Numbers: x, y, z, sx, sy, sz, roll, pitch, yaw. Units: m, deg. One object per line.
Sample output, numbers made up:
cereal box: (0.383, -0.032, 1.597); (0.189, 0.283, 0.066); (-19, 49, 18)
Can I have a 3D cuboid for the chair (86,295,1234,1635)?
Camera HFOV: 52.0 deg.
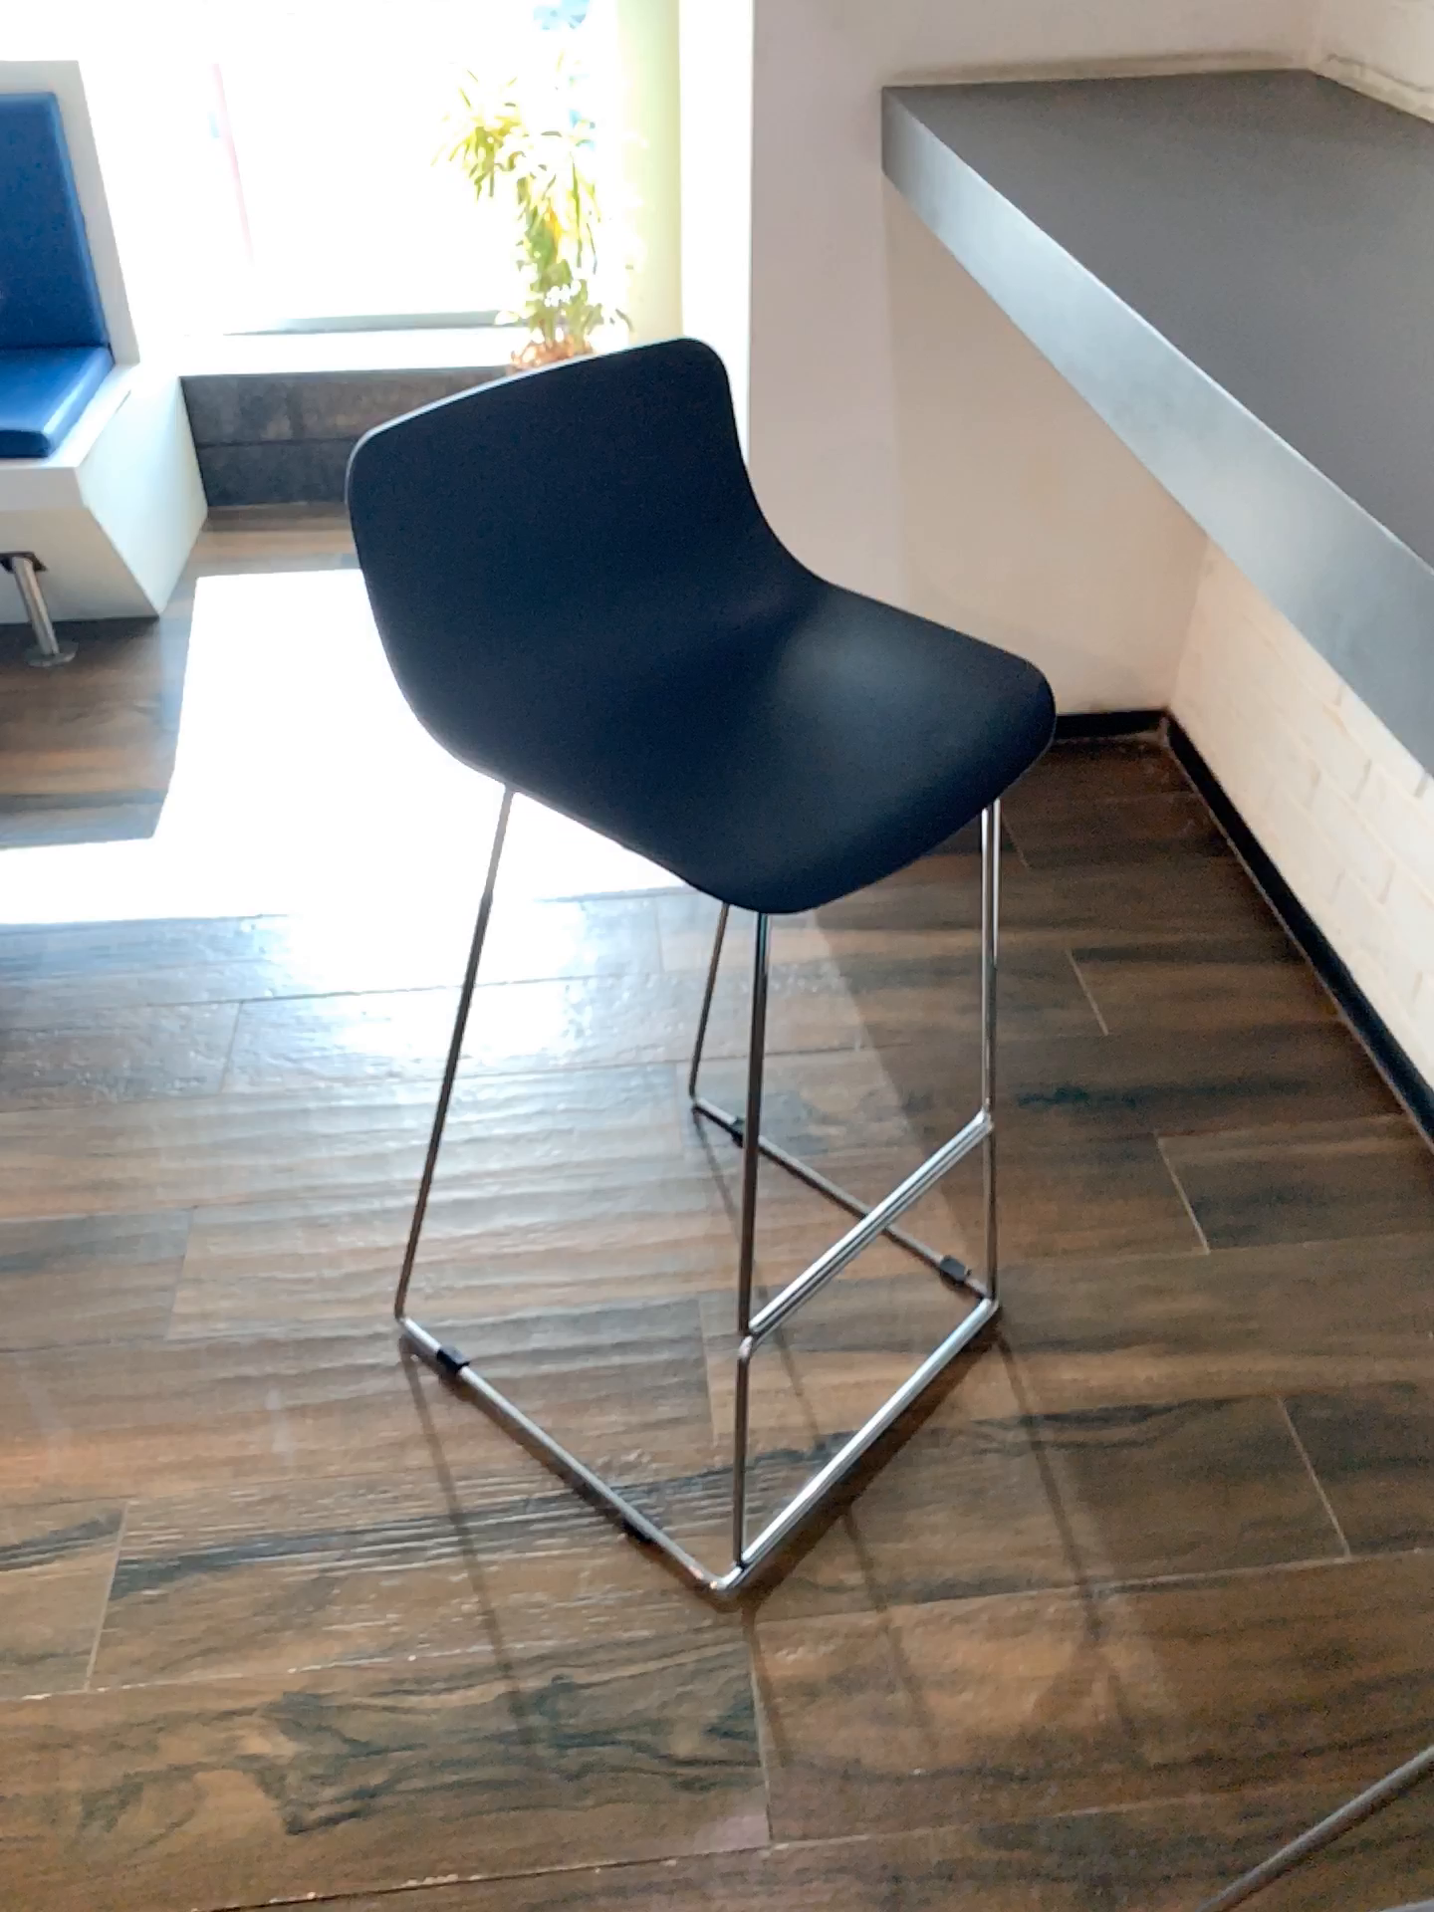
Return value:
chair: (-0.036, -0.014, 1.291); (0.592, 0.862, 0.543); (28, 46, 31)
